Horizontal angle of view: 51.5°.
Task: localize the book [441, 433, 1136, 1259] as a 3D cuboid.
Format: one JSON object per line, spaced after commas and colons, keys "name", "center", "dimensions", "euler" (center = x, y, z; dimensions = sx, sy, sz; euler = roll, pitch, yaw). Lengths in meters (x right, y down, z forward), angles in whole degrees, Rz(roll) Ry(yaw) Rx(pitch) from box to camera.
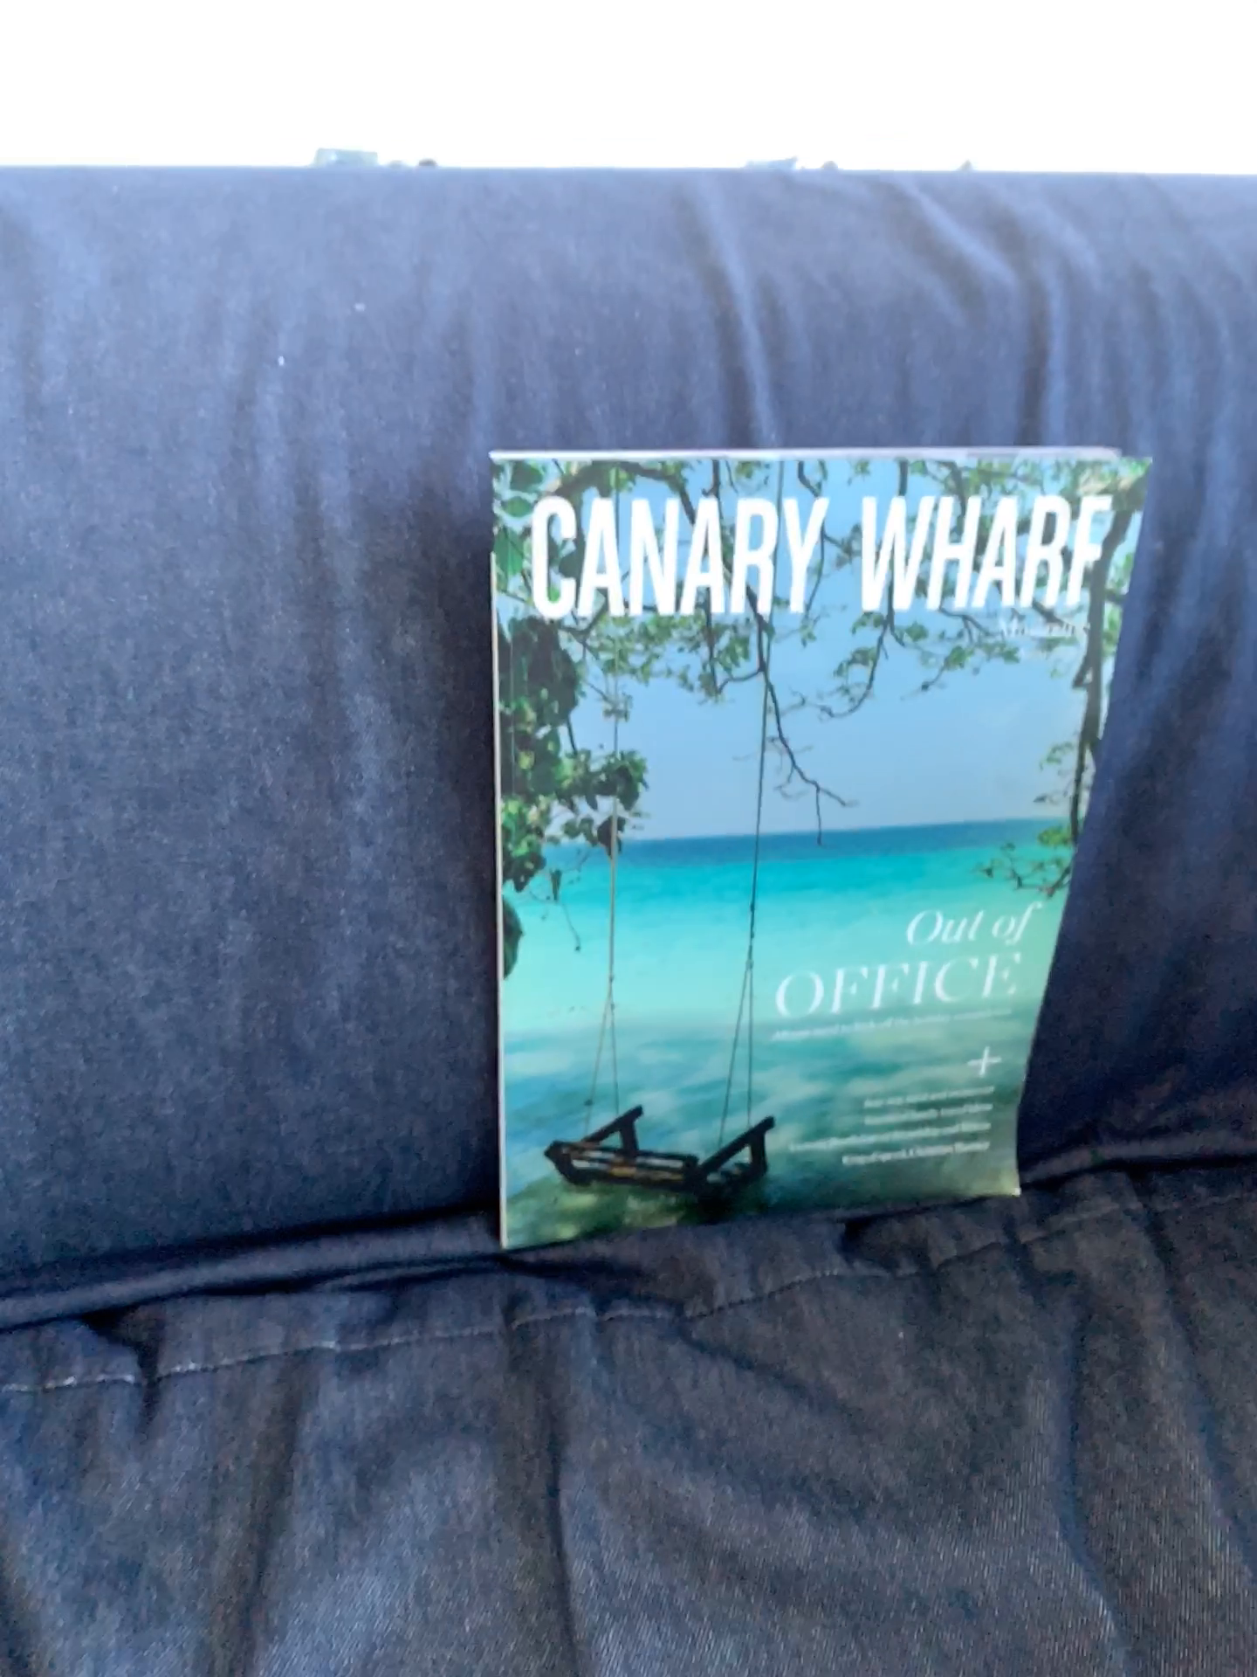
{"name": "book", "center": [0.047, 0.009, 0.438], "dimensions": [0.205, 0.273, 0.030], "euler": [-3, 22, -9]}
